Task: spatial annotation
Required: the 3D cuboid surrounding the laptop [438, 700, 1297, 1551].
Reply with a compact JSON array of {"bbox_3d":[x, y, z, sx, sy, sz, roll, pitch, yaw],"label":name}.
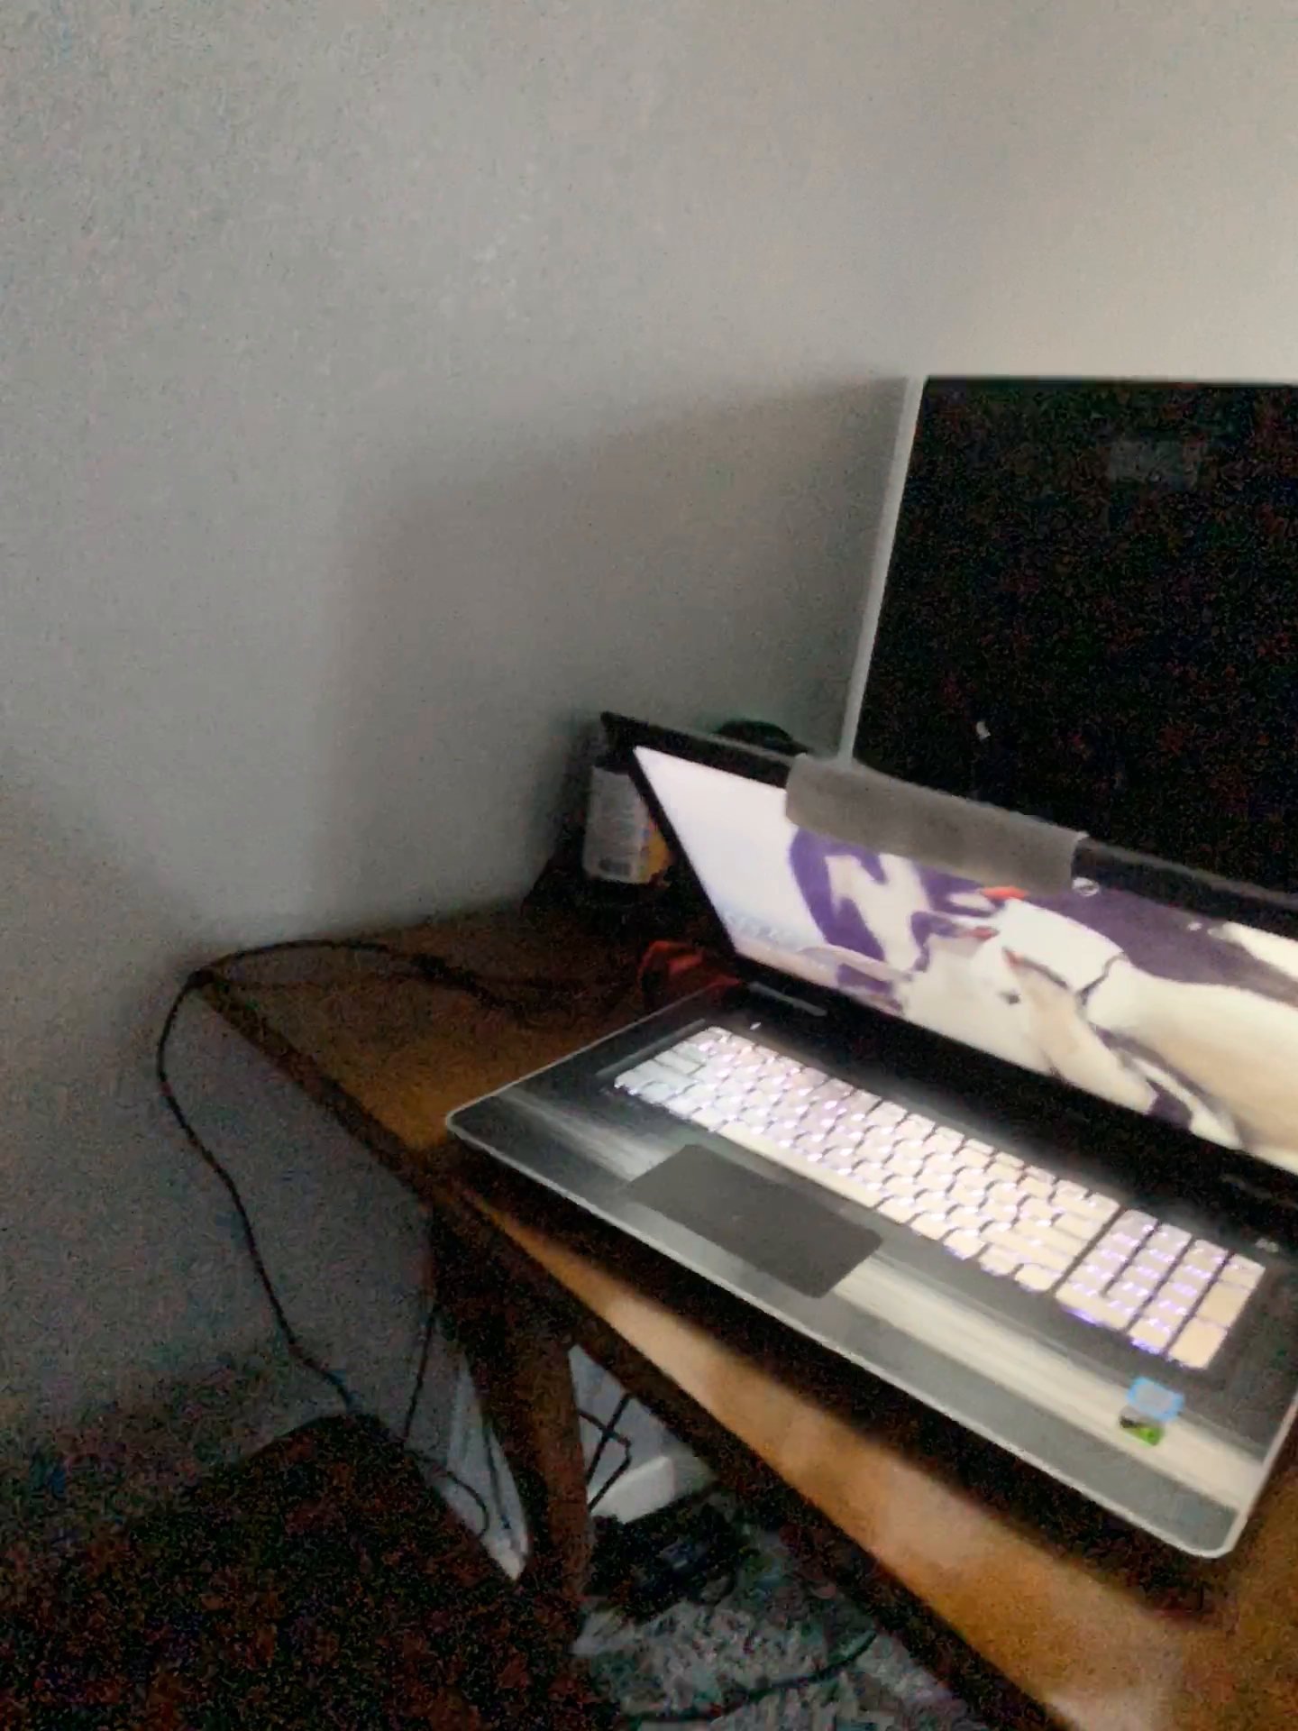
[{"bbox_3d":[0.136,0.068,0.643,0.393,0.187,0.258,19,23,34],"label":"laptop"}]
